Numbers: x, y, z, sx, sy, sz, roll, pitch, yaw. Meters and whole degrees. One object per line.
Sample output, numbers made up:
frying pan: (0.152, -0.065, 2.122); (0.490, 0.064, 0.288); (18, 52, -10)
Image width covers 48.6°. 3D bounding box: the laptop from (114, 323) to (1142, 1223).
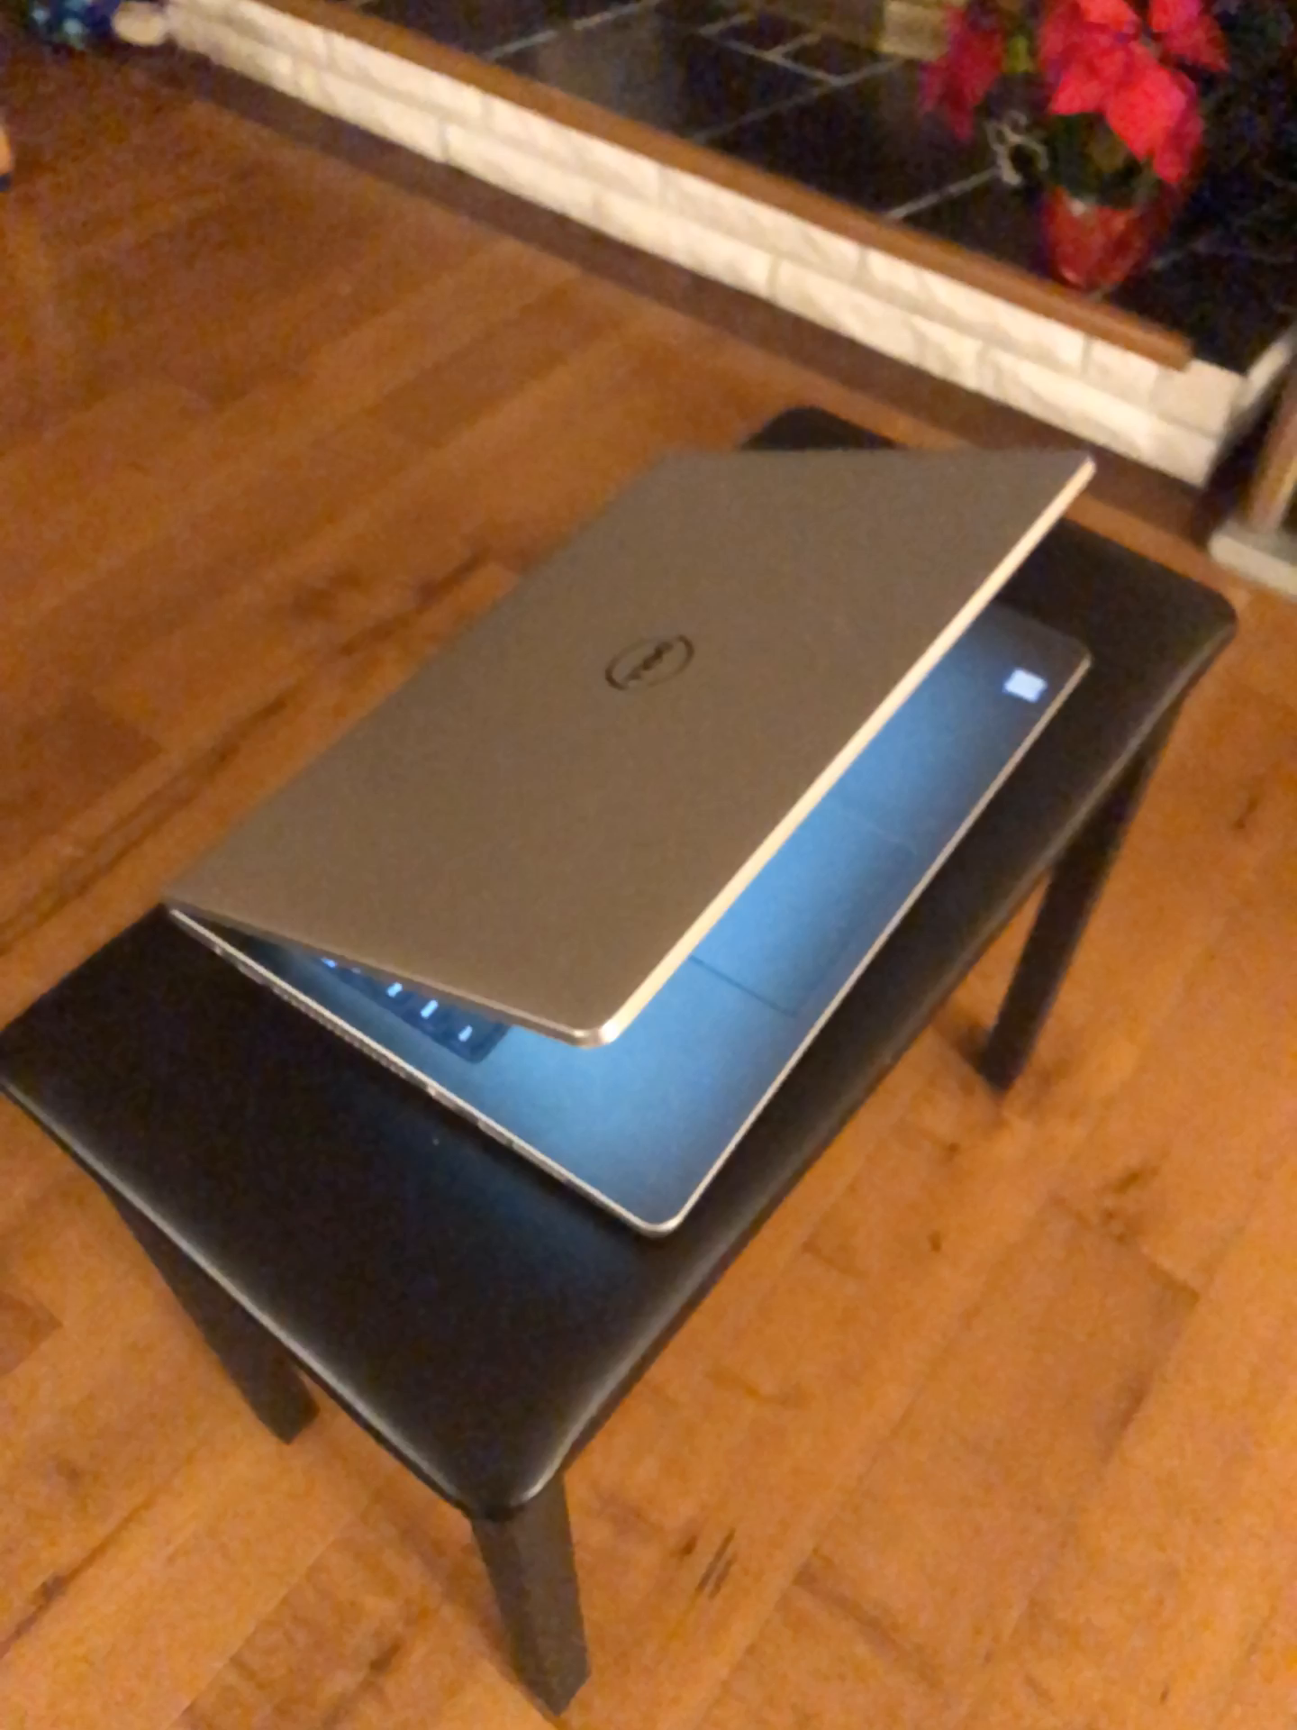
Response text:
laptop: (0.009, -0.071, 0.624); (0.248, 0.107, 0.366); (28, 56, 22)
